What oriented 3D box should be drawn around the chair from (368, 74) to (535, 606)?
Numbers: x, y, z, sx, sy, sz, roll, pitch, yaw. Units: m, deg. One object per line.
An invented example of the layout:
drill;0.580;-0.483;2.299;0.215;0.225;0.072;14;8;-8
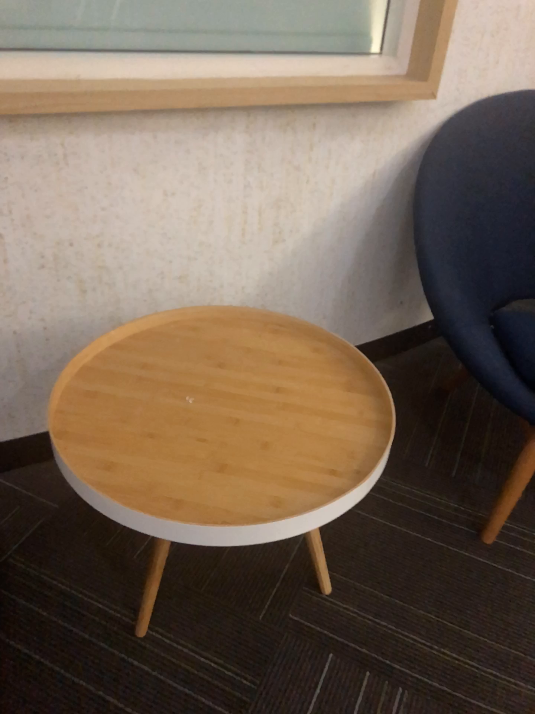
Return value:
chair;0.833;-0.146;1.571;0.890;0.992;1.008;5;27;1
